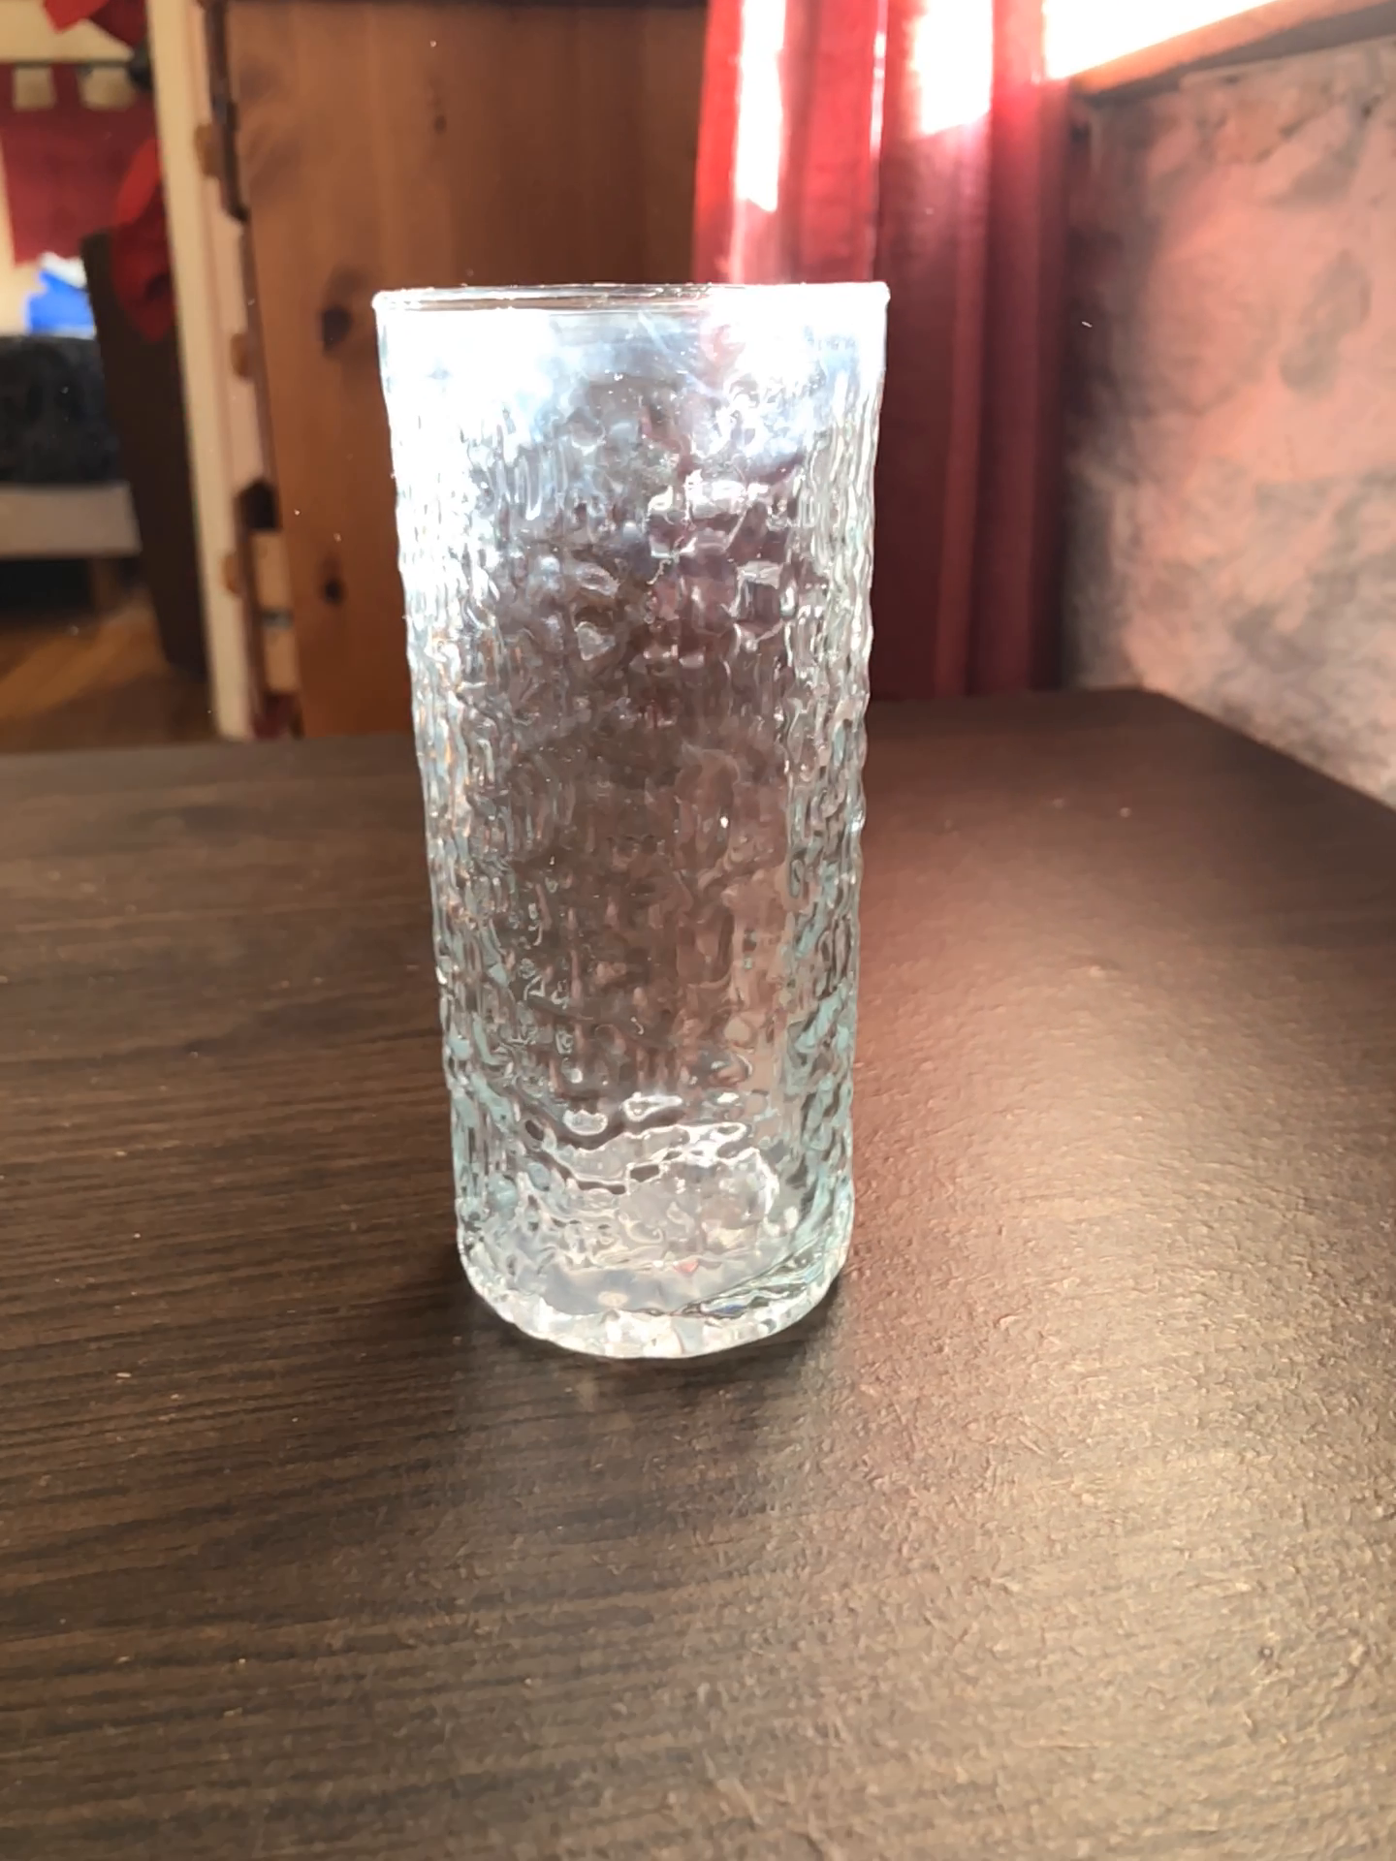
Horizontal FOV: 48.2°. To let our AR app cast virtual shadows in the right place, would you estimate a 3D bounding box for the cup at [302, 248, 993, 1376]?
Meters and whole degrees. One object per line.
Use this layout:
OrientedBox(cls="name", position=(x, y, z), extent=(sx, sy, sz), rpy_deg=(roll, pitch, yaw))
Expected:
OrientedBox(cls="cup", position=(-0.007, -0.018, 0.209), extent=(0.068, 0.131, 0.070), rpy_deg=(1, 20, 0))
